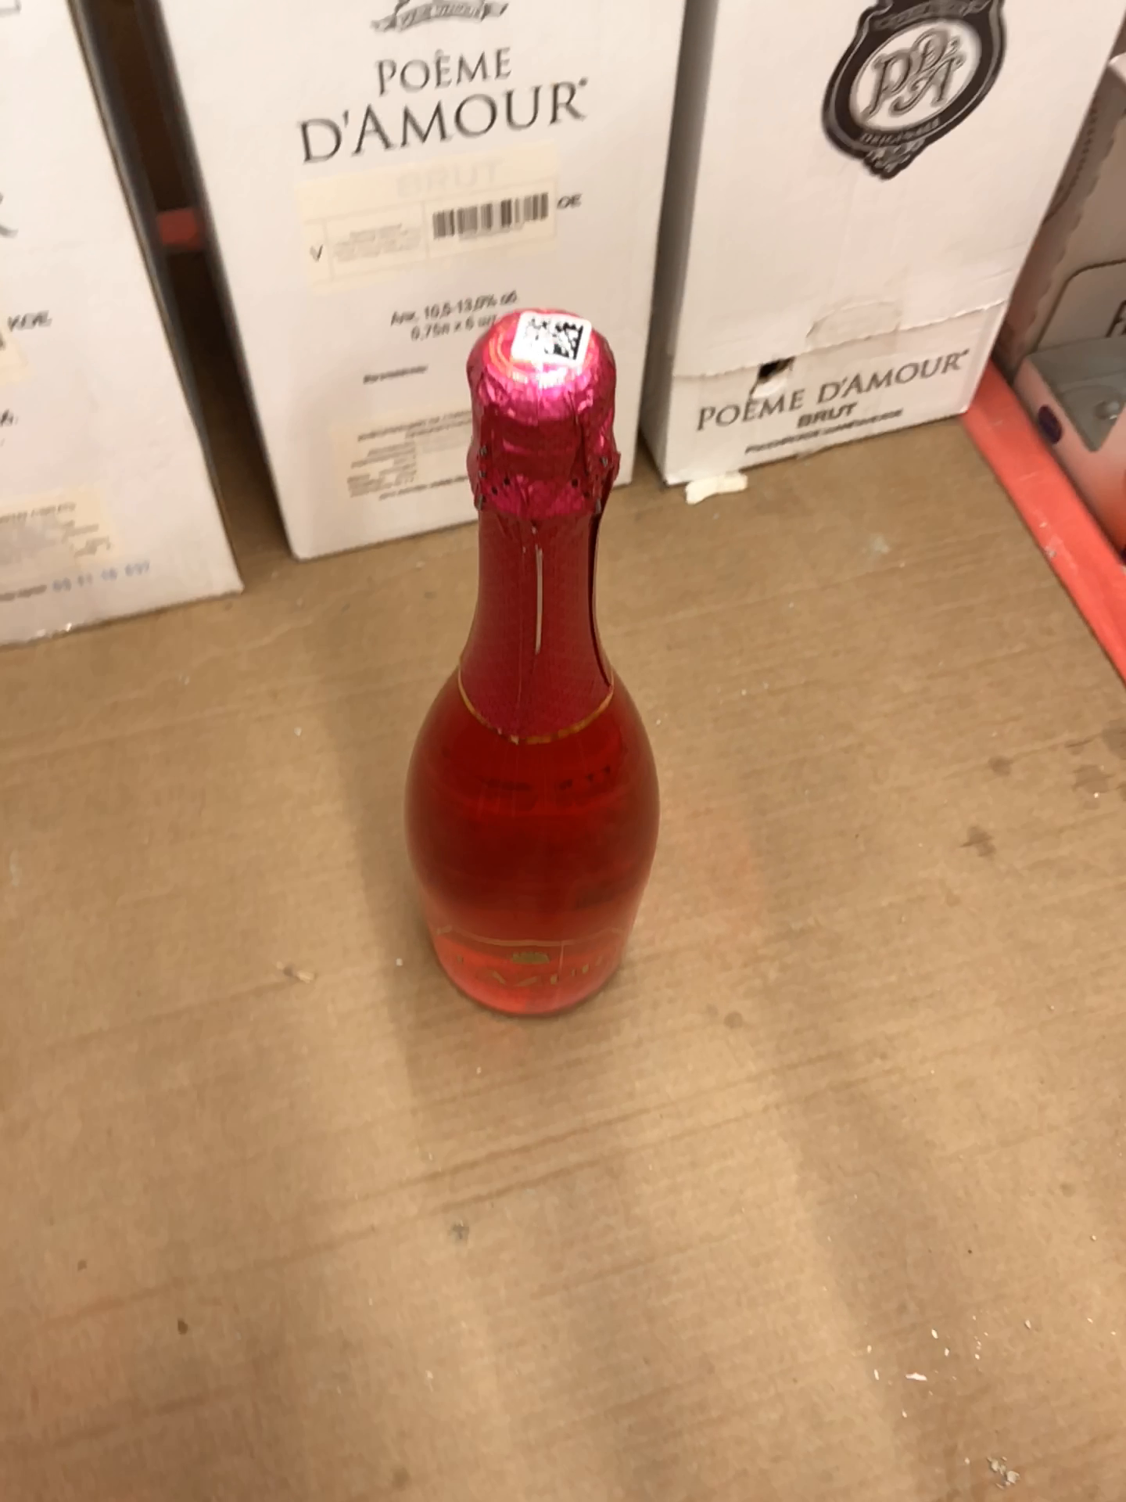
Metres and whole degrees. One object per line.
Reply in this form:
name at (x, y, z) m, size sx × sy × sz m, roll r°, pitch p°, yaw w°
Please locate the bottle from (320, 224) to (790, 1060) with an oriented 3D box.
bottle at (-0.007, 0.003, 0.399) m, size 0.090 × 0.320 × 0.090 m, roll 1°, pitch 58°, yaw -2°
